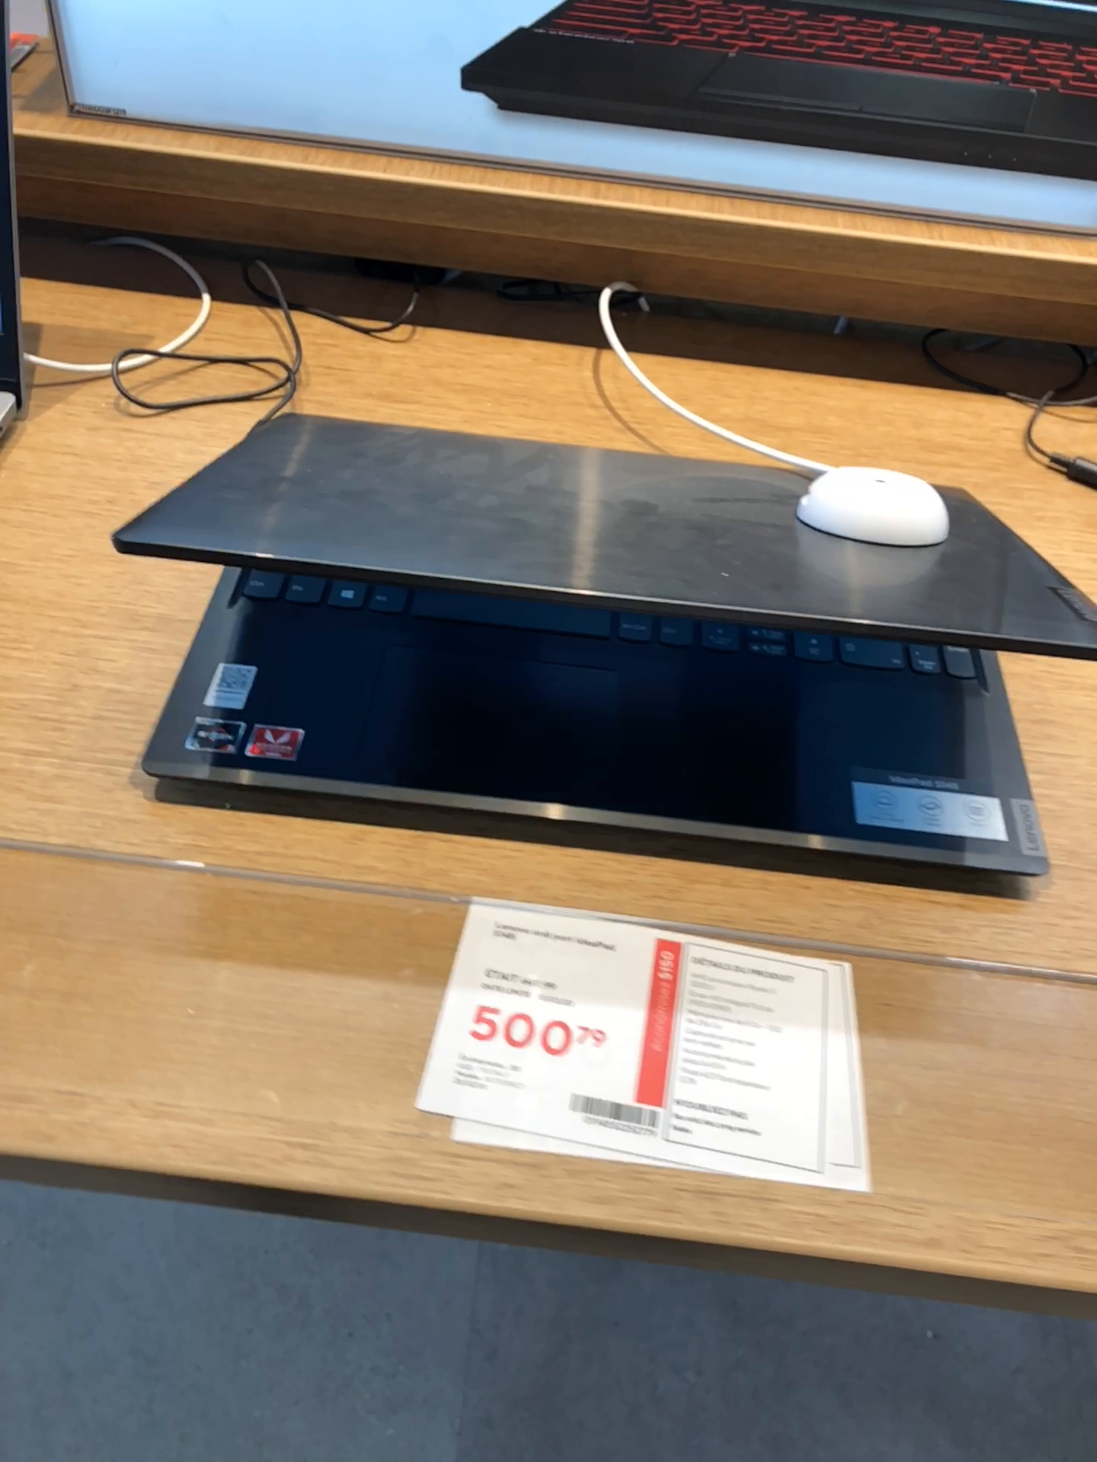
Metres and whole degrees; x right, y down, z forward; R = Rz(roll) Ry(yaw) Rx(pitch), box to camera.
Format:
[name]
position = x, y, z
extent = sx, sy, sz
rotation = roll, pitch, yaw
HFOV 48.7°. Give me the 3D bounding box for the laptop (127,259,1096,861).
[laptop]
position = 0.037, -0.079, 0.499
extent = 0.330, 0.083, 0.224
rotation = 6, 49, -3
